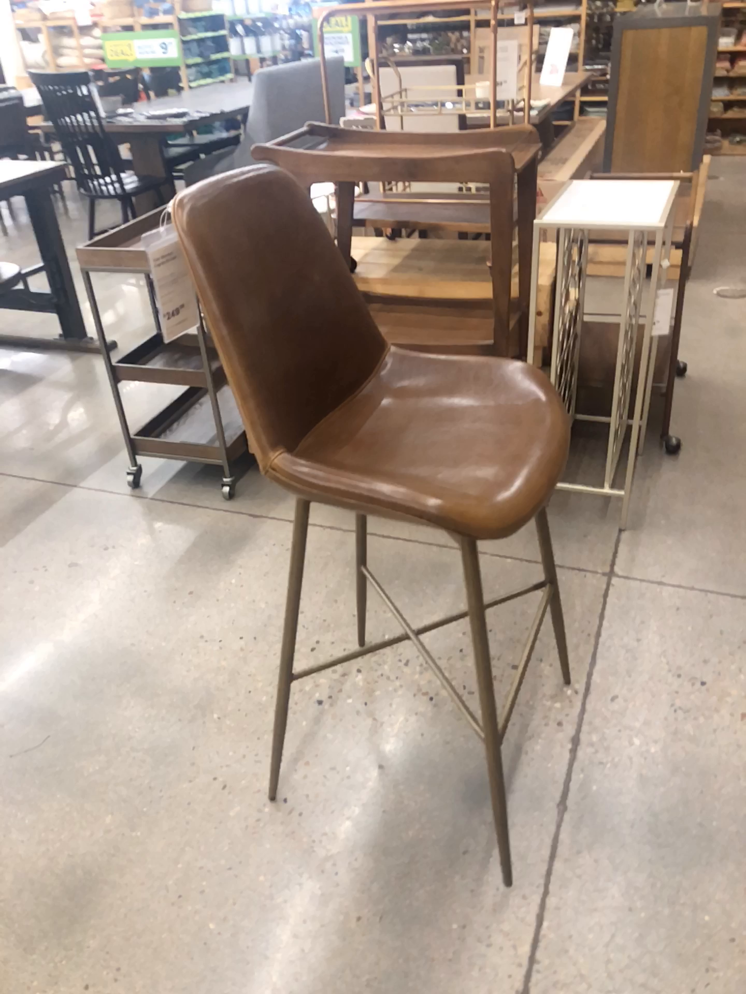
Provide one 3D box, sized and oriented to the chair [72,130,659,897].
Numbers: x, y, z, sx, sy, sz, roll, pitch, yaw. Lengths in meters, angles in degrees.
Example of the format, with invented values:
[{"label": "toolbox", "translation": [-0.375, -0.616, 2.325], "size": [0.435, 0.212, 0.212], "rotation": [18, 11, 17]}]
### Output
[{"label": "chair", "translation": [0.066, 0.000, 1.382], "size": [0.610, 1.055, 0.605], "rotation": [10, 35, 21]}]
